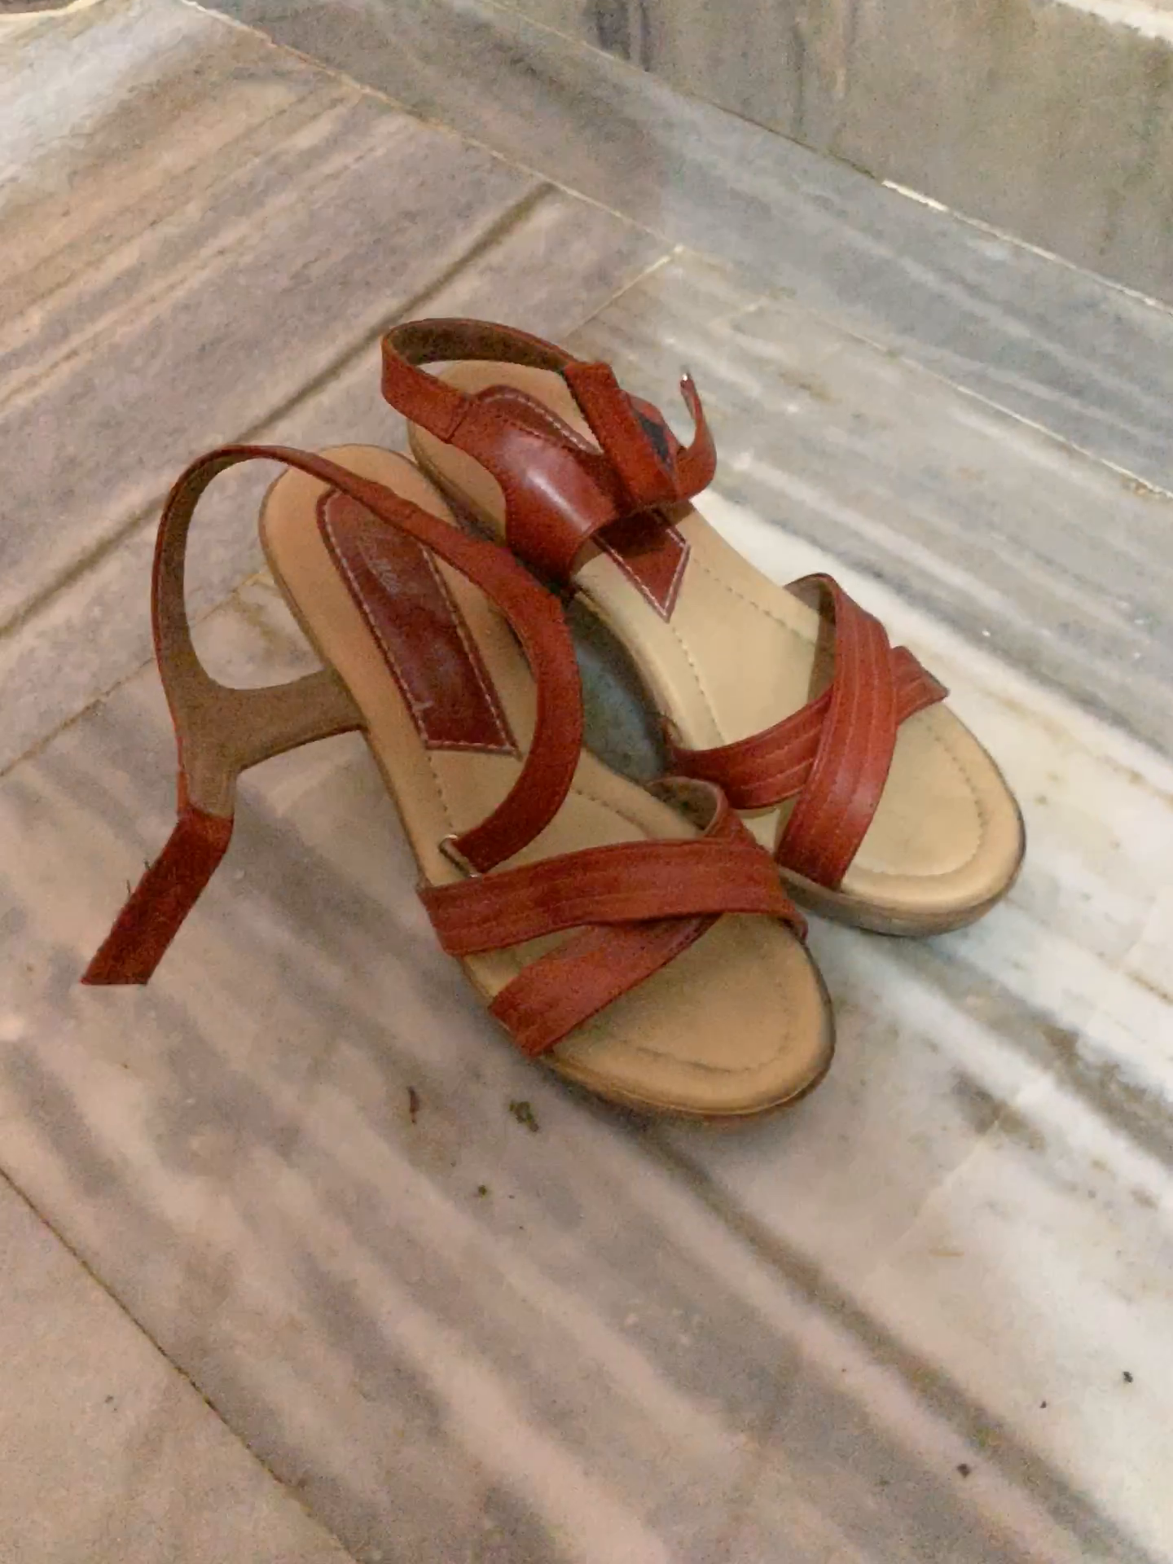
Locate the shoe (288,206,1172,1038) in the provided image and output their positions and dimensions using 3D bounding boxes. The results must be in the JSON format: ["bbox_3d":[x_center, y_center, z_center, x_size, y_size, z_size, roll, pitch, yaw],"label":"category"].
[{"bbox_3d":[0.035,-0.055,0.365,0.240,0.100,0.100,40,67,21],"label":"shoe"}]

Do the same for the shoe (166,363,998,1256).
[{"bbox_3d":[-0.013,0.000,0.364,0.100,0.100,0.240,-32,64,-17],"label":"shoe"}]
